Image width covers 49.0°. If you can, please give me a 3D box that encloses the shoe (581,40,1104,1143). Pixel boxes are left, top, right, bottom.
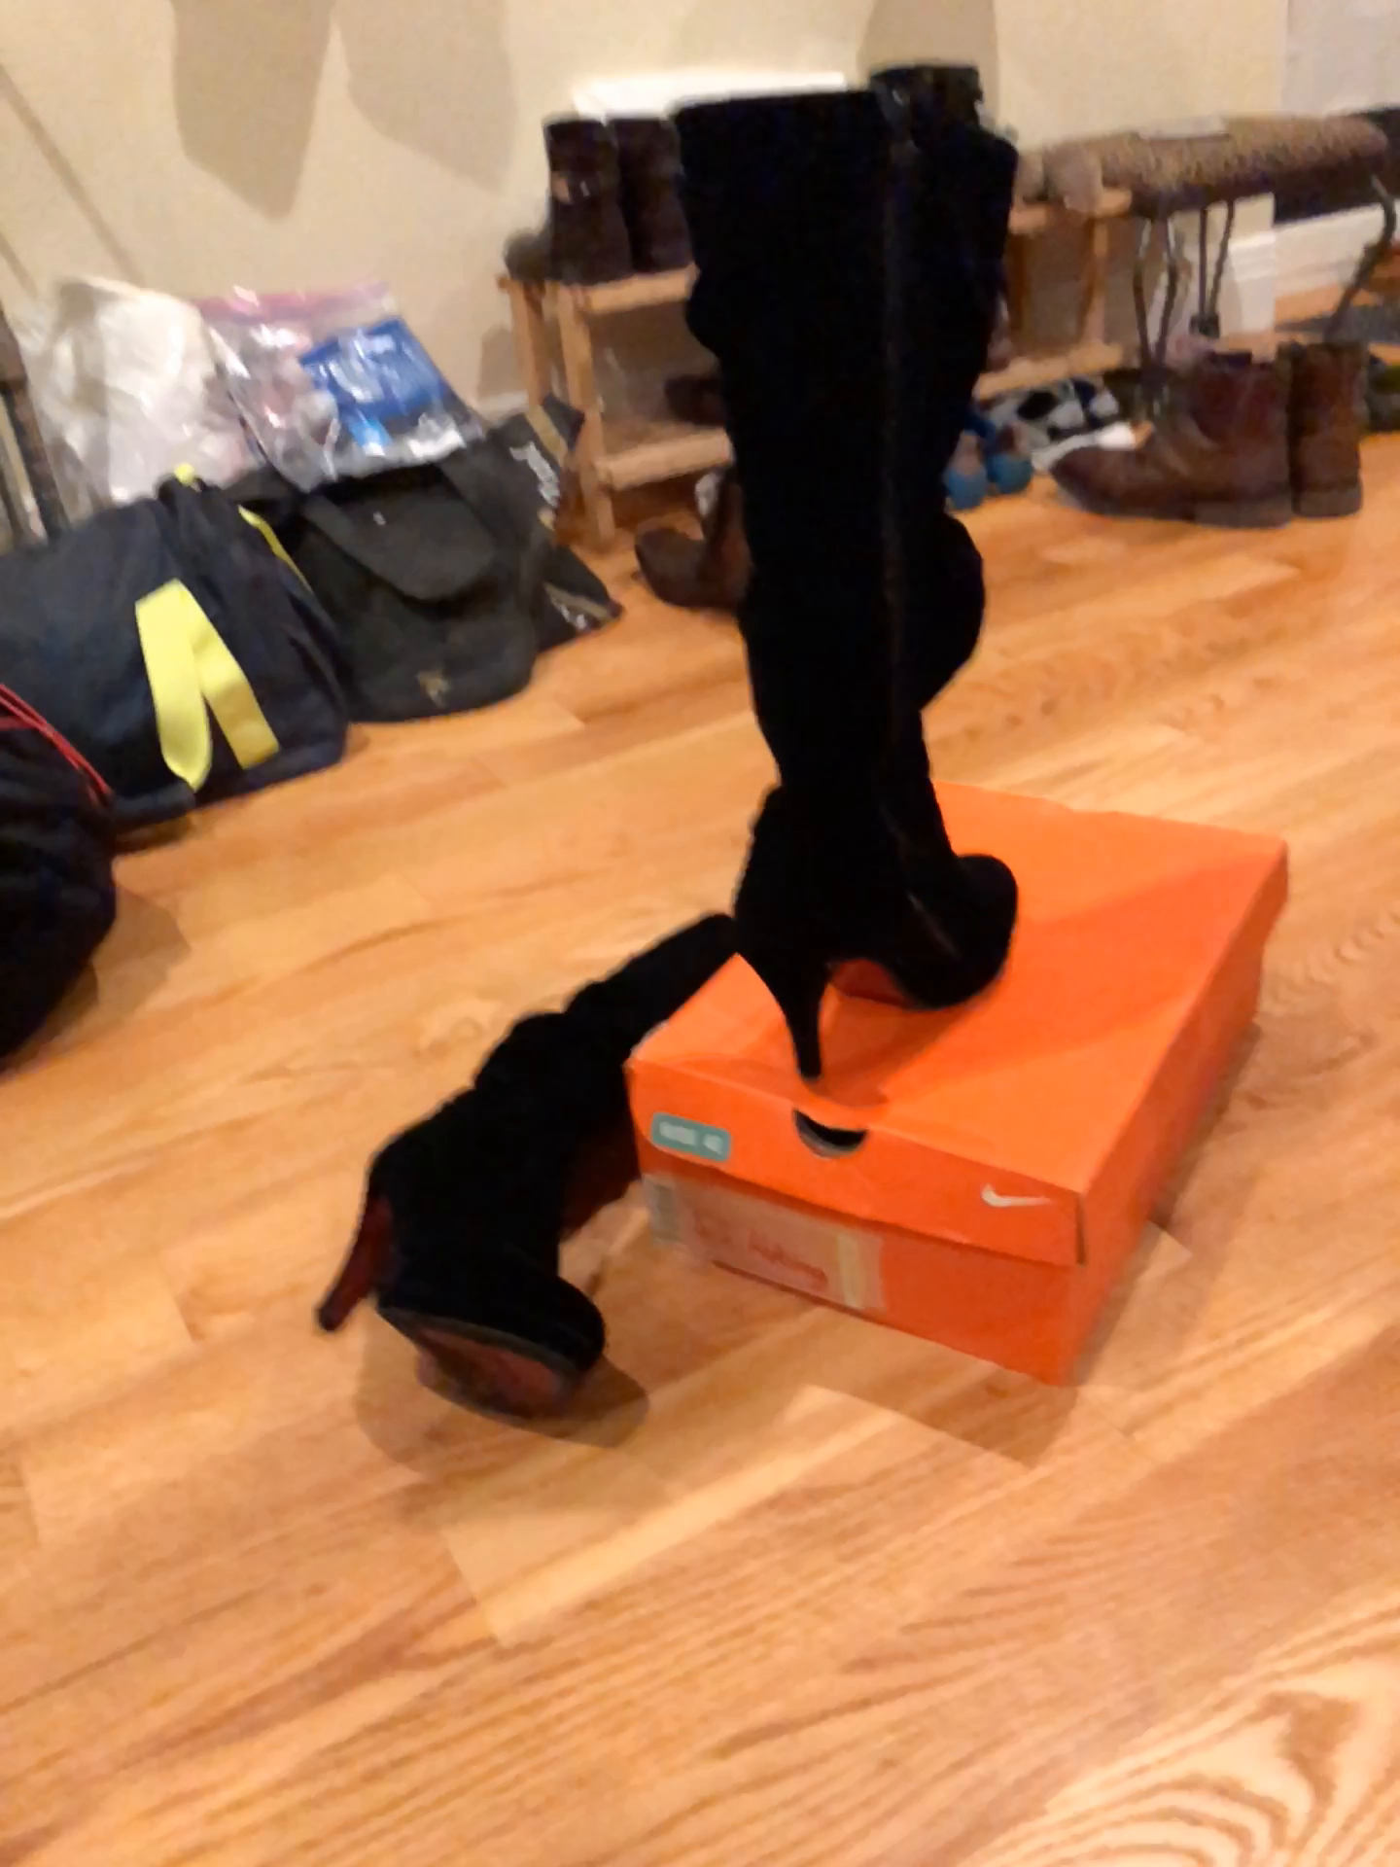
[{"bbox_3d":[0.078,-0.141,0.656,0.089,0.397,0.217,16,37,33],"label":"shoe"}]

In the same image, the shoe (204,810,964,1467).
[{"bbox_3d":[-0.034,0.073,0.820,0.206,0.089,0.401,11,35,29],"label":"shoe"}]
